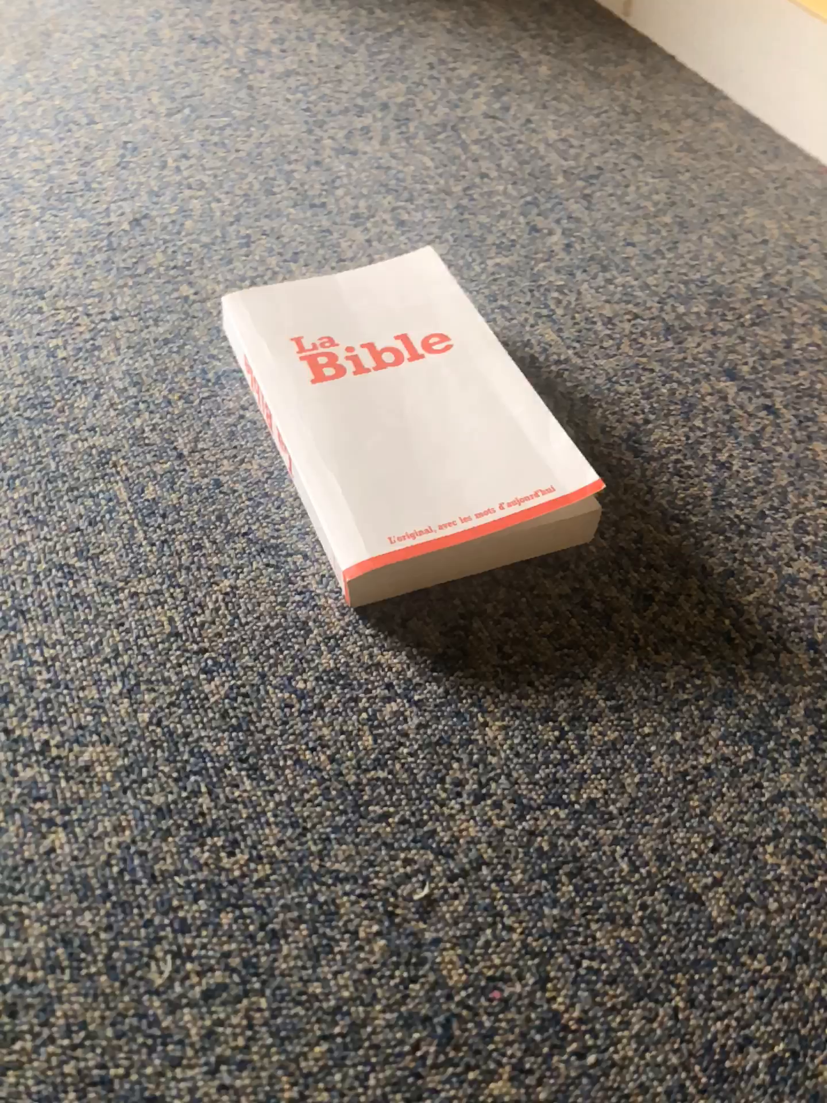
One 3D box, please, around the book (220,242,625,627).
[{"bbox_3d":[-0.005,-0.074,0.476,0.134,0.042,0.211,-16,55,-17],"label":"book"}]
